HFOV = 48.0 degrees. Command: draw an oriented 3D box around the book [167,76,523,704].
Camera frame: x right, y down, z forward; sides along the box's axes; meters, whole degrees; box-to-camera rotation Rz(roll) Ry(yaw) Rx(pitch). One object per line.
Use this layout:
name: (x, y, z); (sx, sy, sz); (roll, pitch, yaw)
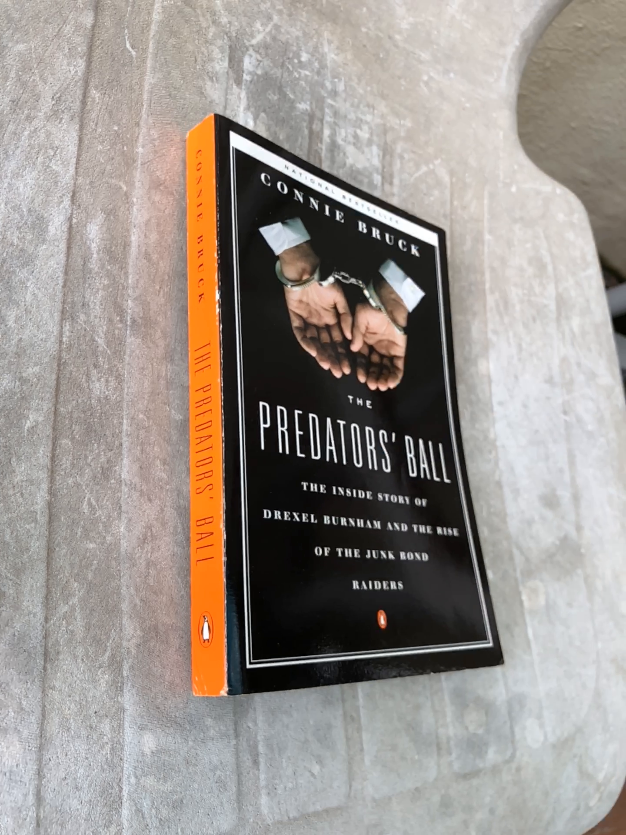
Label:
book: (0.013, -0.008, 0.276); (0.141, 0.030, 0.210); (11, 67, -39)
